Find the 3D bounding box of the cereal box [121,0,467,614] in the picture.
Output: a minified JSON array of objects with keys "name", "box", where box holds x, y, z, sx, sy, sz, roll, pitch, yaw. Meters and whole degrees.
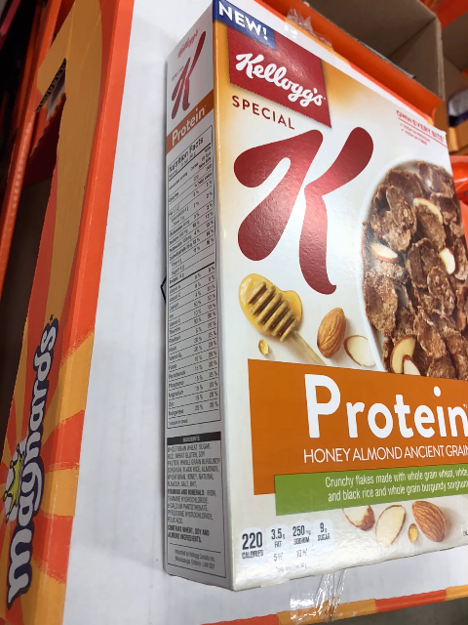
[{"name":"cereal box","box":[0.051,-0.016,0.269,0.201,0.060,0.260,9,70,-34]}]
